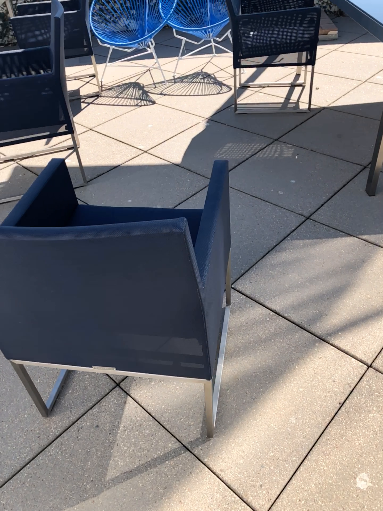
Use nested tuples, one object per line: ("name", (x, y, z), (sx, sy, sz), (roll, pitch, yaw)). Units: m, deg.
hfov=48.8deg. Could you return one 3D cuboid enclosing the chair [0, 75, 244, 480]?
("chair", (-0.212, 0.039, 1.128), (0.650, 0.776, 0.673), (3, 41, 10))
